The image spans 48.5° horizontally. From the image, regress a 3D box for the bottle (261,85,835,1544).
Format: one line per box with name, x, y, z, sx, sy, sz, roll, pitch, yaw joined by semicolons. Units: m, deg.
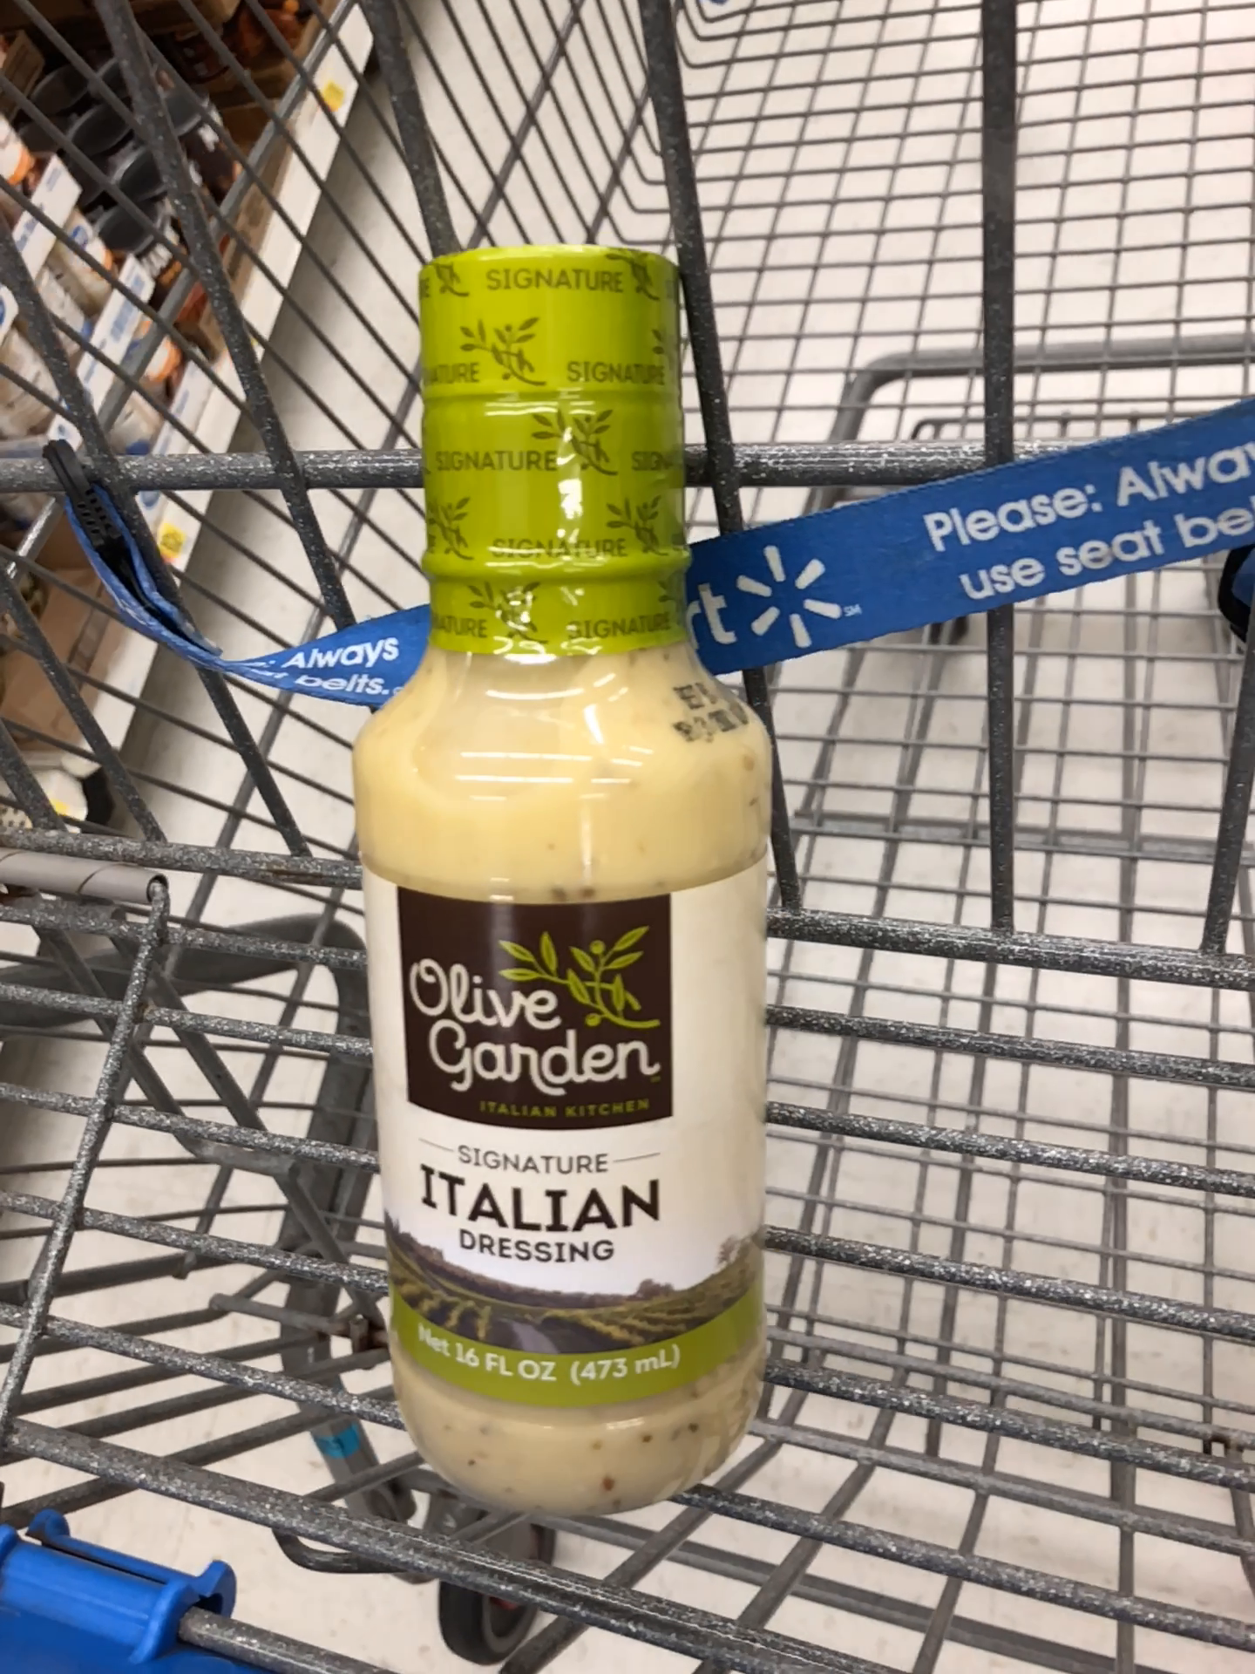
bottle;-0.010;-0.002;0.238;0.080;0.070;0.210;1;96;6
